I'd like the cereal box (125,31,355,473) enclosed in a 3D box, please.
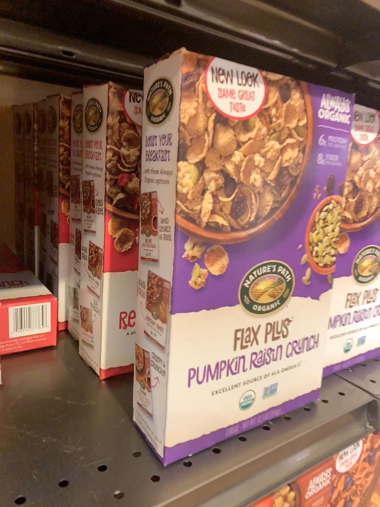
[{"bbox_3d":[0.041,0.002,0.305,0.170,0.269,0.050,-3,11,-35],"label":"cereal box"}]
